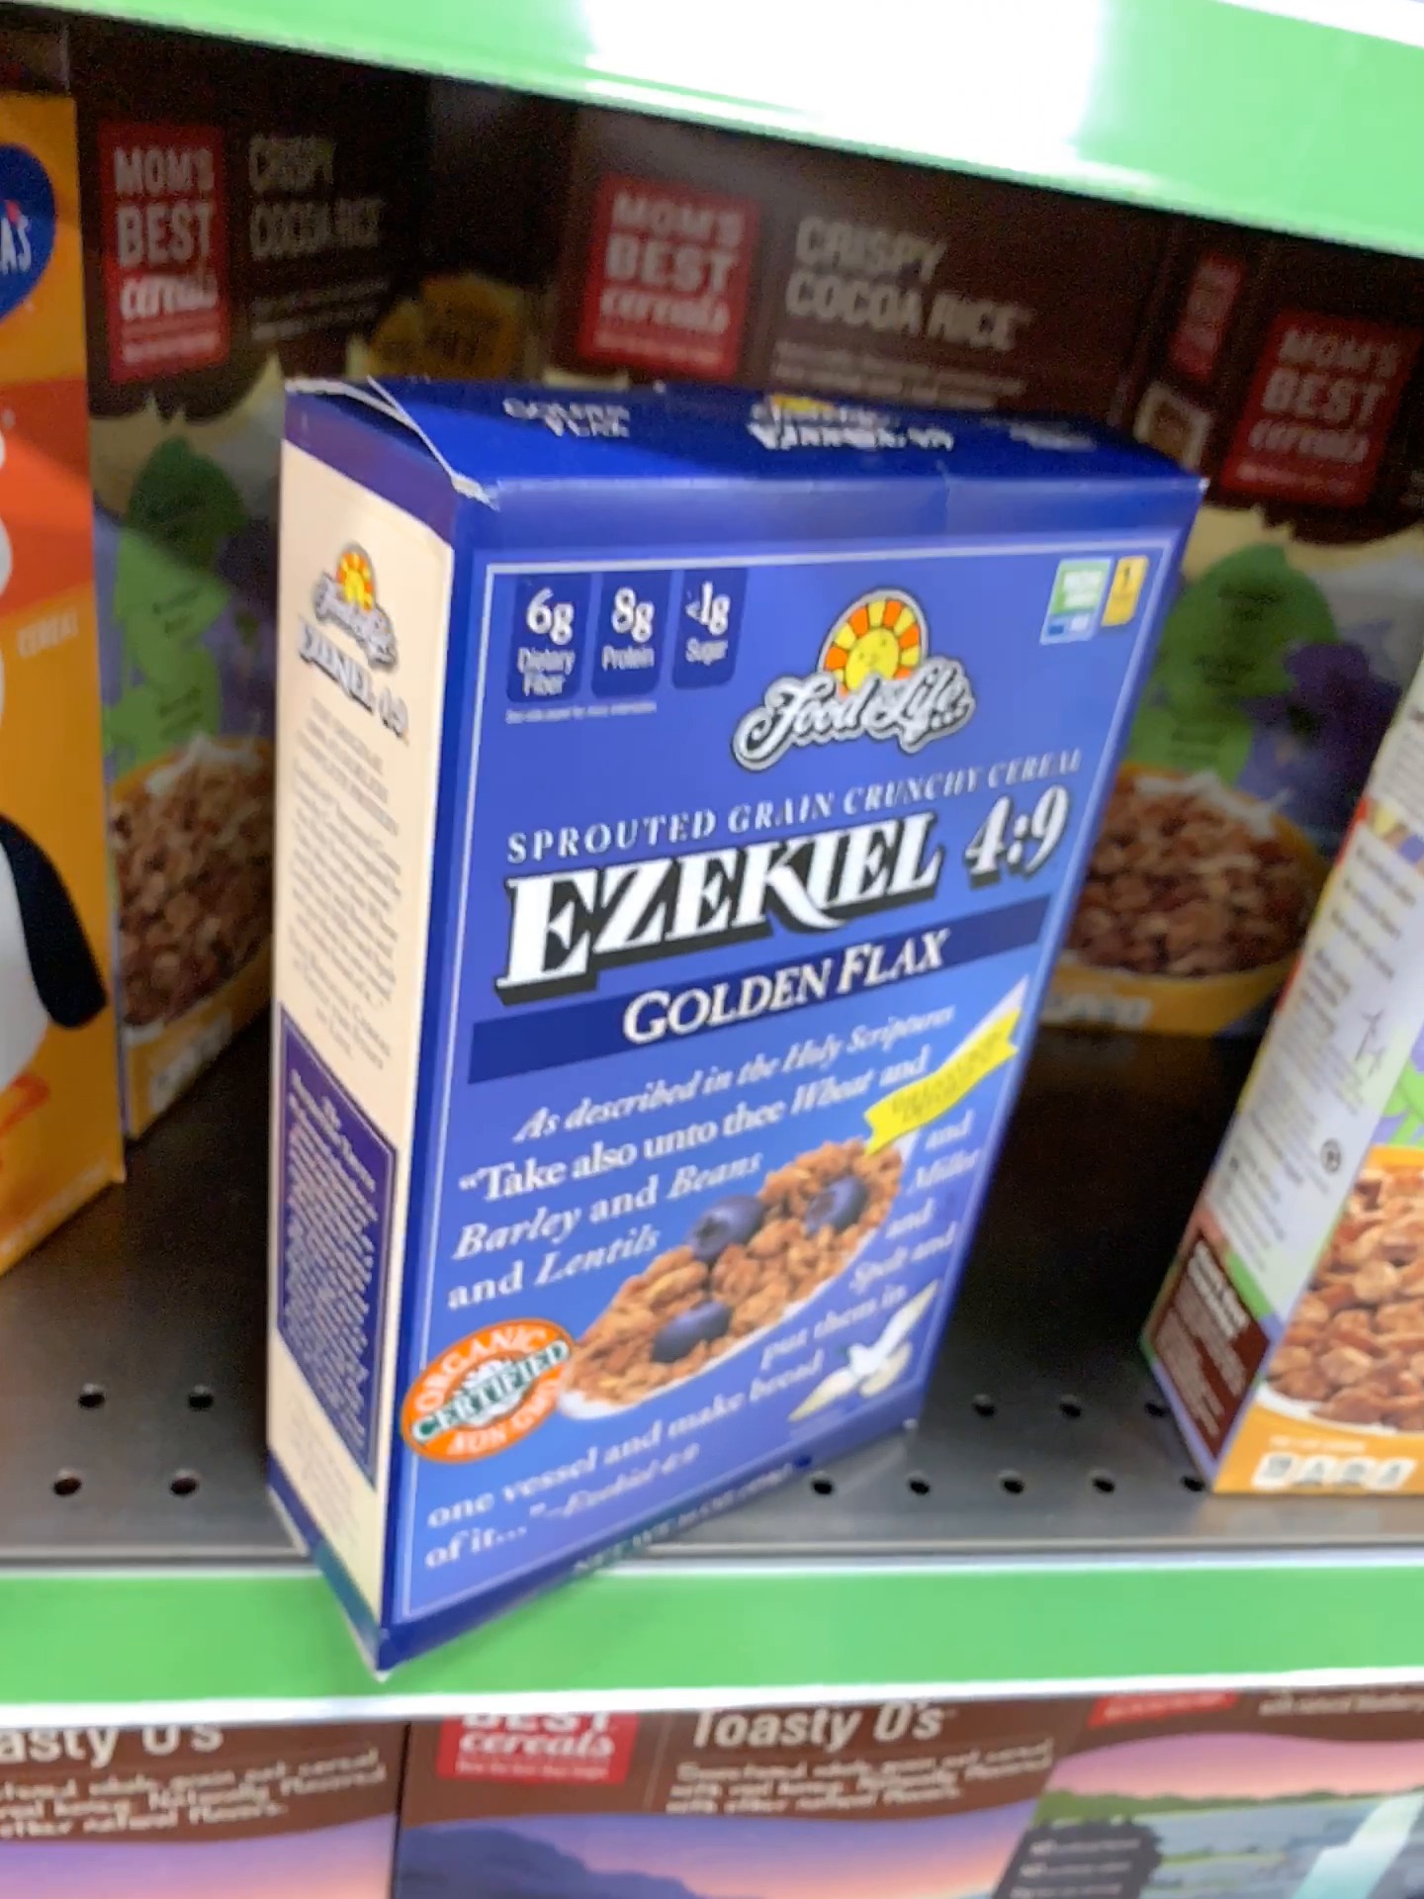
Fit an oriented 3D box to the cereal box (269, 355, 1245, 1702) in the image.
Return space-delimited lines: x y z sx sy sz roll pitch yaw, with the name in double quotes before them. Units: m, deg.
"cereal box" -0.002 0.018 0.310 0.160 0.249 0.060 -12 36 -34
